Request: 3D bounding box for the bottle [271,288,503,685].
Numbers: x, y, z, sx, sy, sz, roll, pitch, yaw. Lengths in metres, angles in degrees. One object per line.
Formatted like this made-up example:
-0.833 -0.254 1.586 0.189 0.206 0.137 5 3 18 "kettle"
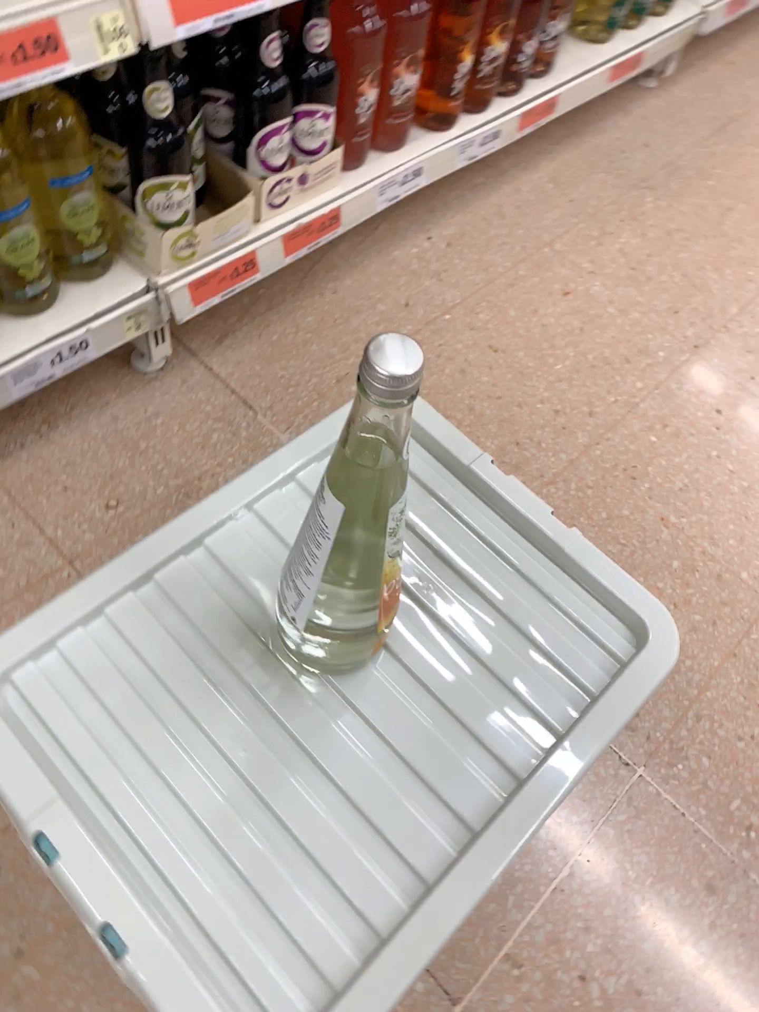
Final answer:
-0.015 0.014 0.464 0.090 0.288 0.091 4 58 -7 "bottle"
